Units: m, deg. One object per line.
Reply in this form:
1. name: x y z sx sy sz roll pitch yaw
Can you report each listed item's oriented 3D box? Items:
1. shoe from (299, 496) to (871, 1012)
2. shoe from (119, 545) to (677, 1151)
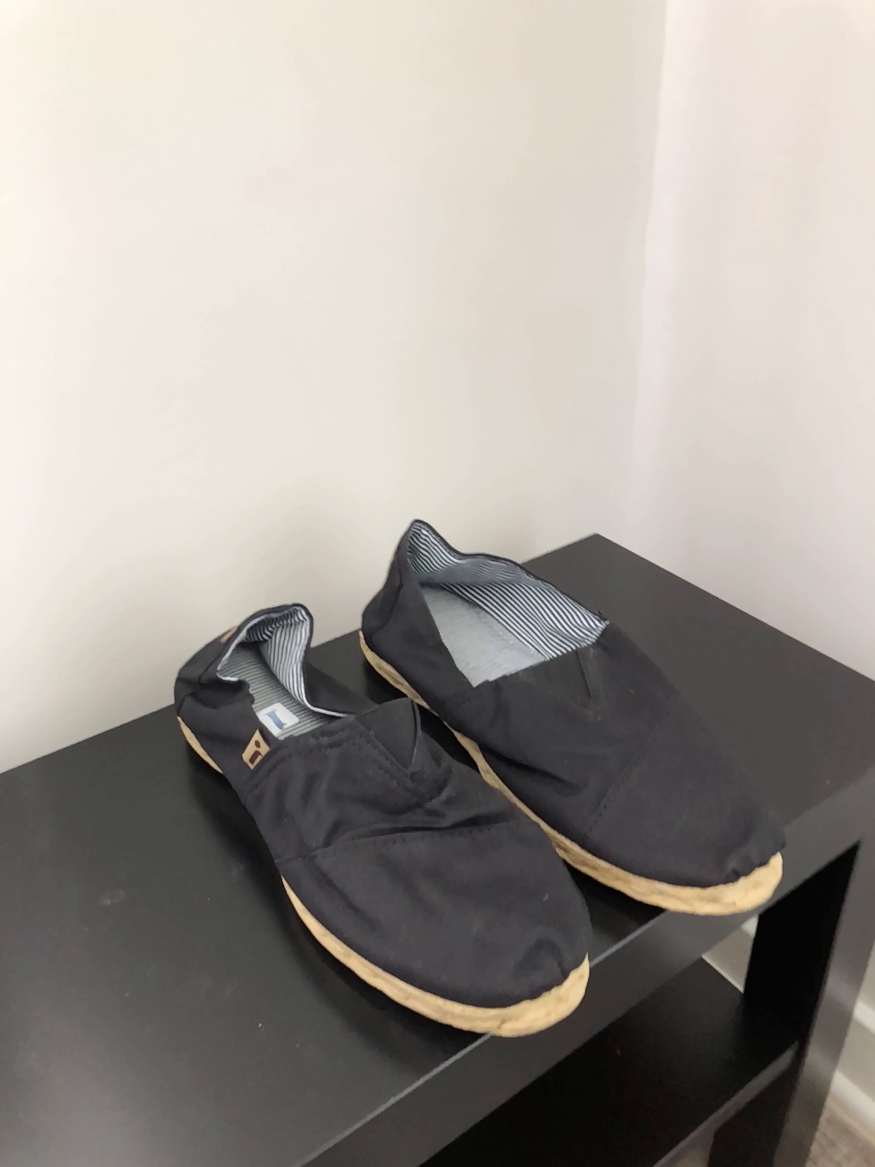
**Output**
1. shoe: 0.047 0.055 0.466 0.101 0.080 0.275 -21 36 -29
2. shoe: -0.037 0.086 0.428 0.101 0.080 0.275 -21 36 -29
